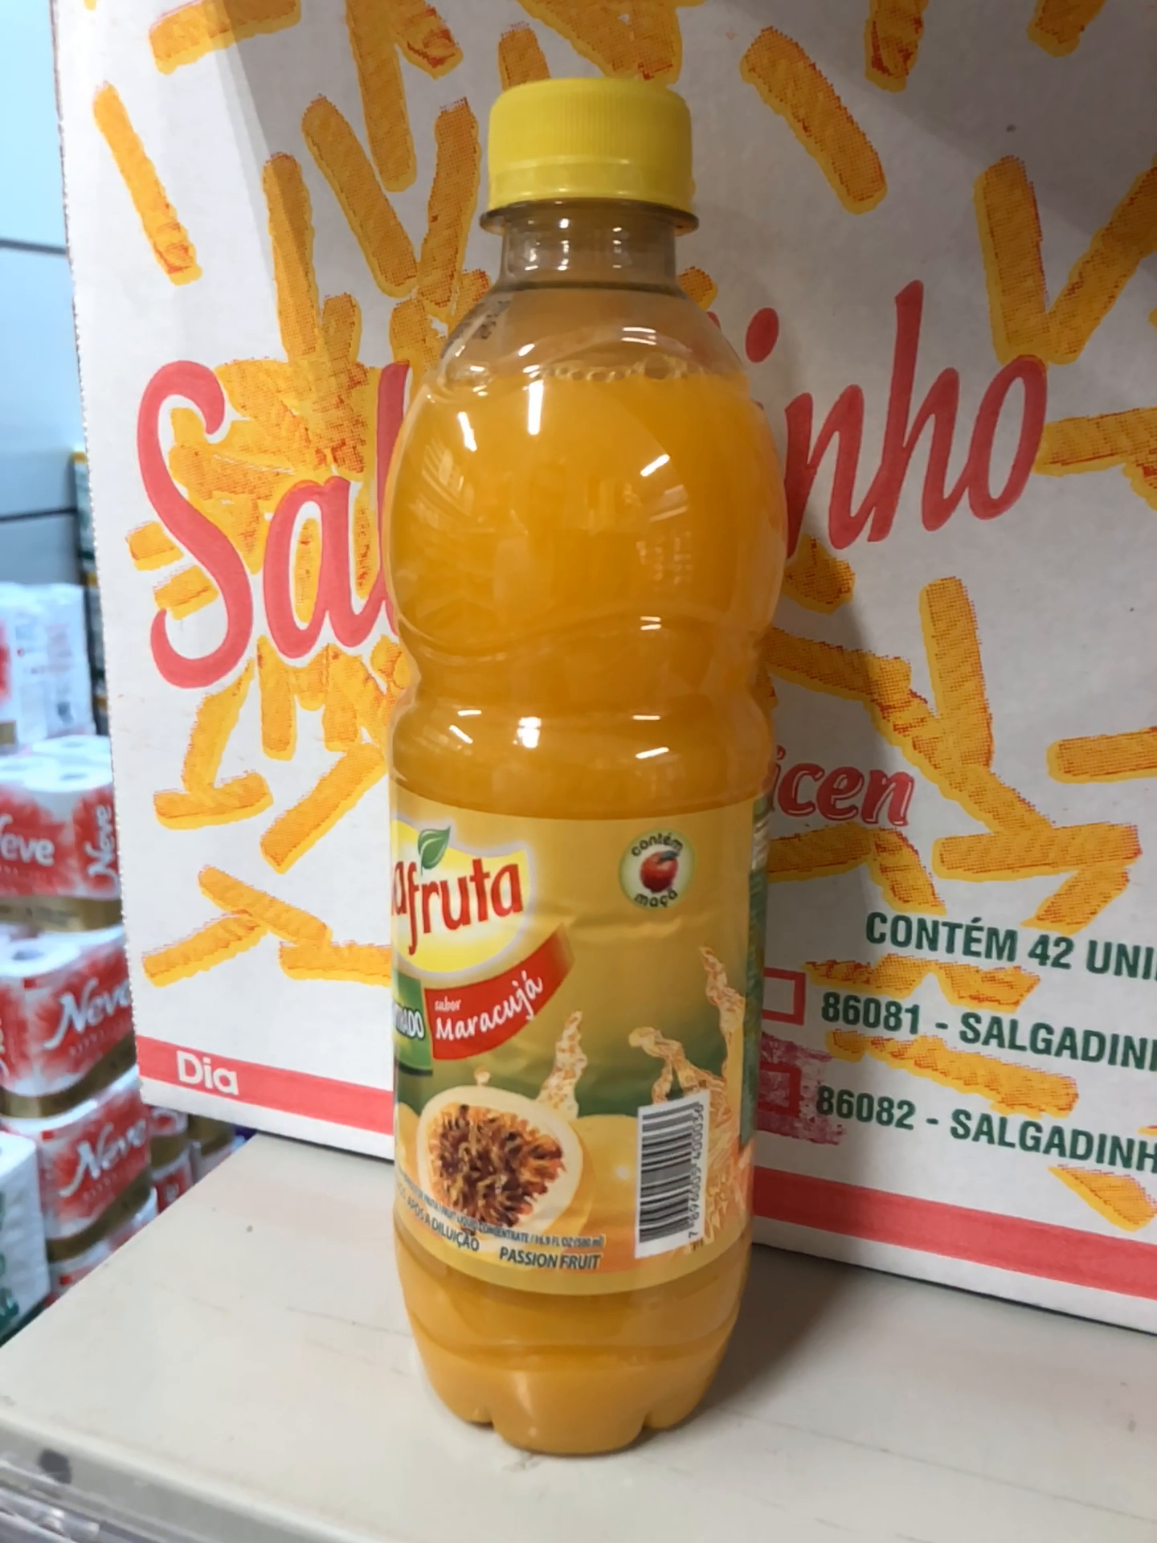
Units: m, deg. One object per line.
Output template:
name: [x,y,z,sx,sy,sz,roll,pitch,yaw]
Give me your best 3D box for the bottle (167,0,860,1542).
bottle: [-0.007,0.002,0.199,0.070,0.199,0.060,11,20,35]
